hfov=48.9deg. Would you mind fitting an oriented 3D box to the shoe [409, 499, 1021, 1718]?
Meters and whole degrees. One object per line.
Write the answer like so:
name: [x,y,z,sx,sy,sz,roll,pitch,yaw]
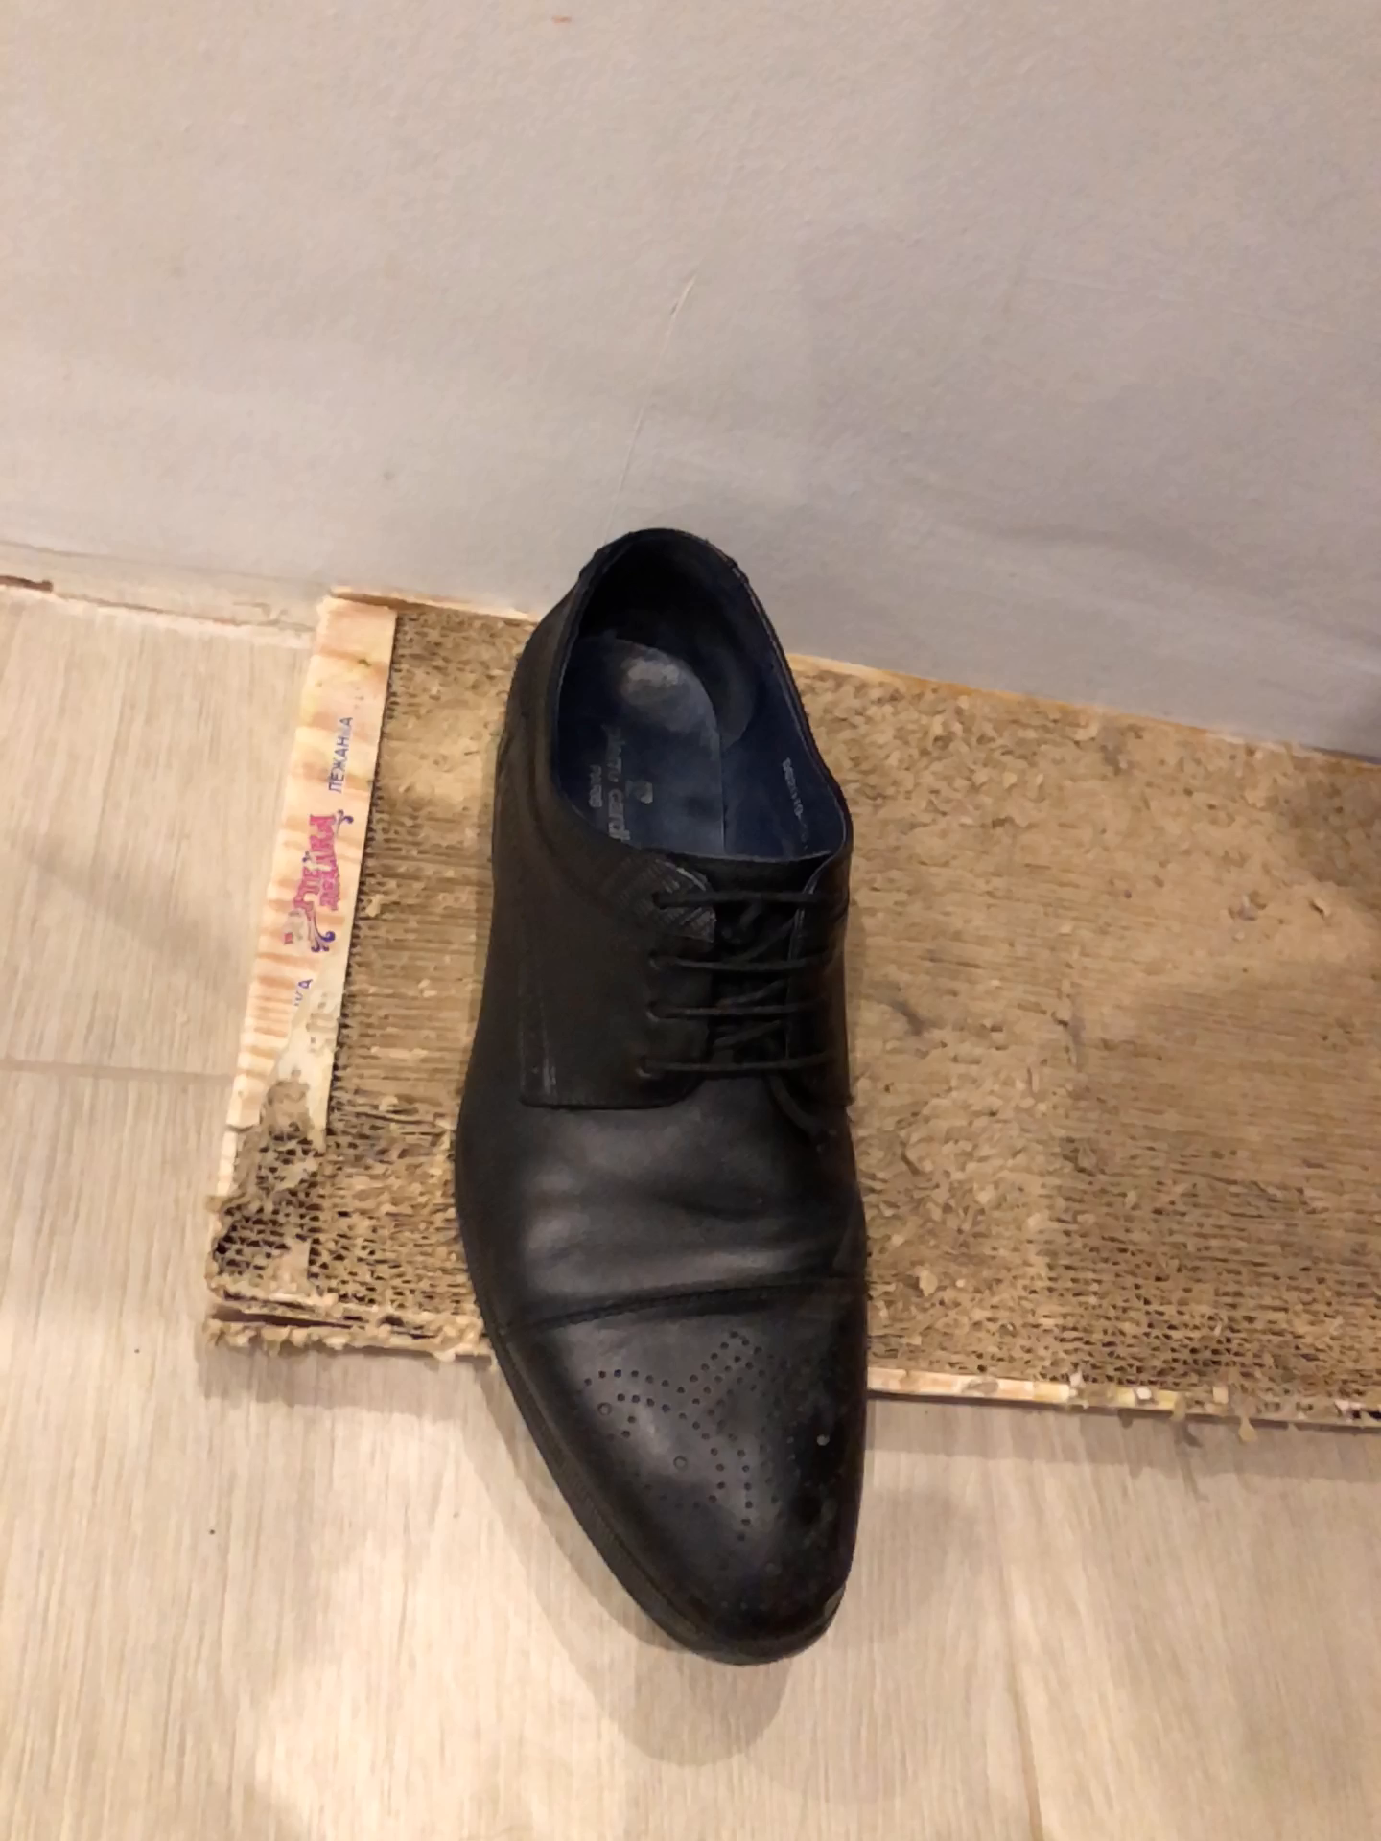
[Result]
shoe: [-0.012,0.037,0.387,0.090,0.099,0.281,0,62,-18]
